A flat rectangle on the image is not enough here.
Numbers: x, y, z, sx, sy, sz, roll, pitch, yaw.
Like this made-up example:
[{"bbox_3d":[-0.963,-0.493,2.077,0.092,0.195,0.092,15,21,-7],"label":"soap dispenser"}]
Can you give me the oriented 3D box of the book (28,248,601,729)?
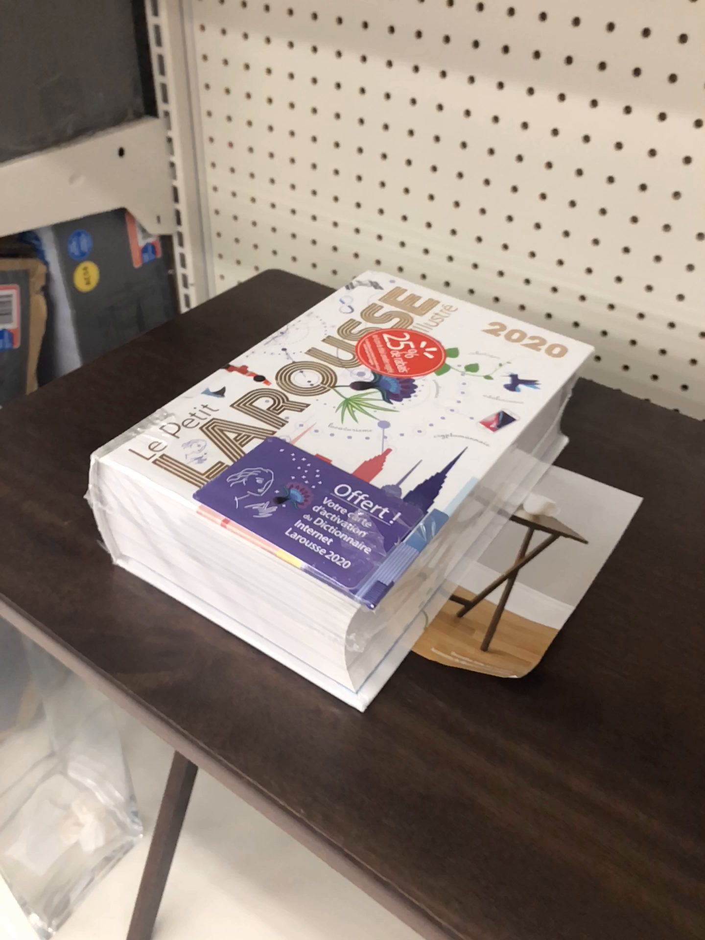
[{"bbox_3d":[-0.005,-0.018,0.395,0.170,0.069,0.231,25,45,24],"label":"book"}]
